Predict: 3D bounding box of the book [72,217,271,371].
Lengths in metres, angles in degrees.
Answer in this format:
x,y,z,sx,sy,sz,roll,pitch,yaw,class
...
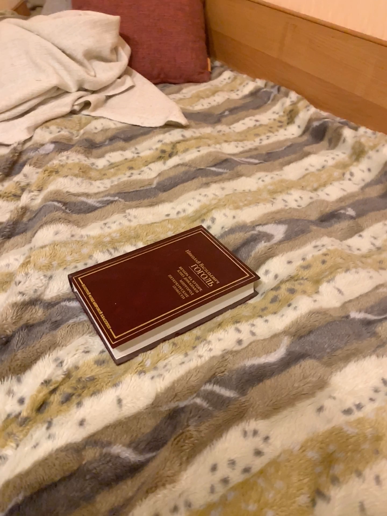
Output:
x,y,z,sx,sy,sz,roll,pitch,yaw,class
-0.029,0.033,0.526,0.211,0.040,0.150,-24,46,-24,book
